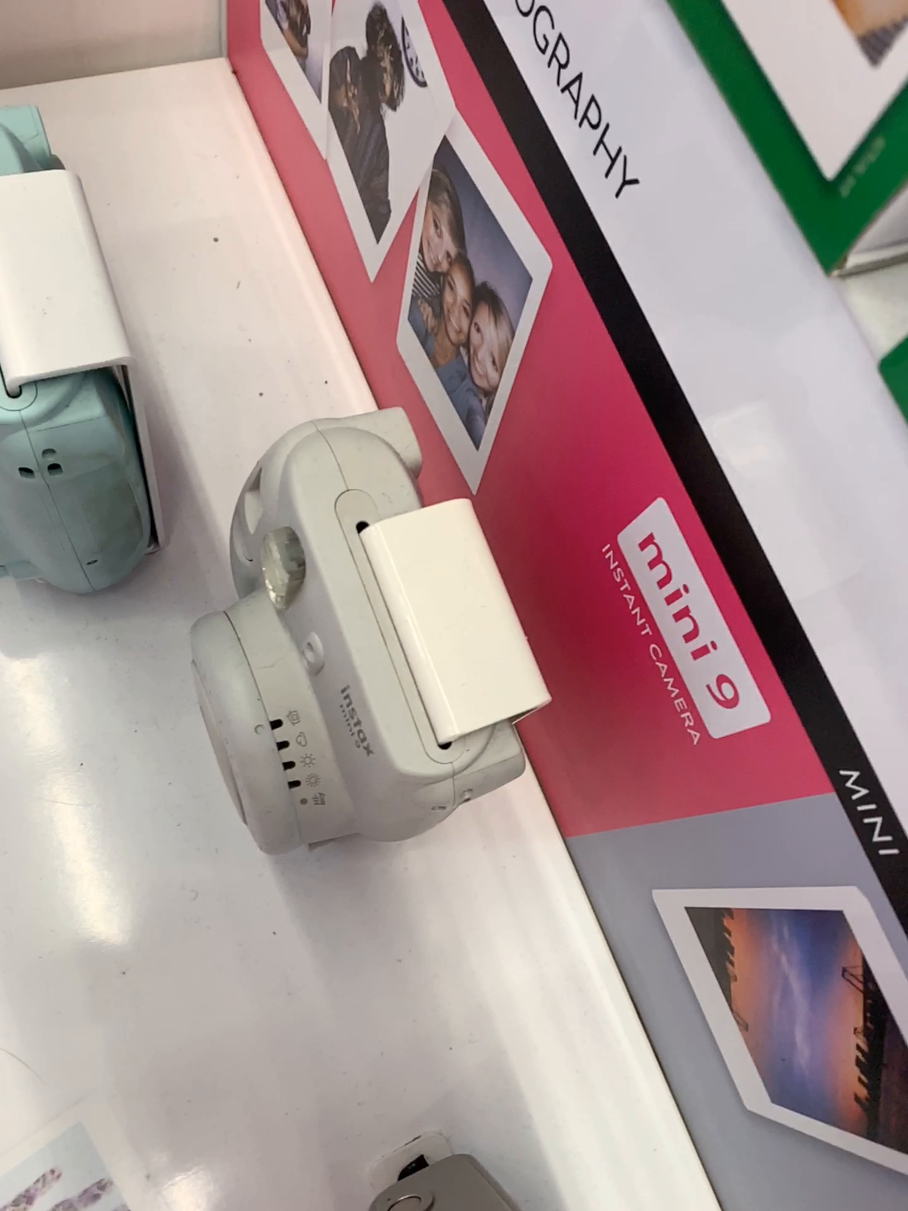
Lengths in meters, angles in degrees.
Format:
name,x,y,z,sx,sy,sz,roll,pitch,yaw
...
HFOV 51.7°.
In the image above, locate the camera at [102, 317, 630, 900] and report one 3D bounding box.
name,x,y,z,sx,sy,sz,roll,pitch,yaw
camera,-0.031,0.009,0.250,0.080,0.110,0.110,-18,78,-18
